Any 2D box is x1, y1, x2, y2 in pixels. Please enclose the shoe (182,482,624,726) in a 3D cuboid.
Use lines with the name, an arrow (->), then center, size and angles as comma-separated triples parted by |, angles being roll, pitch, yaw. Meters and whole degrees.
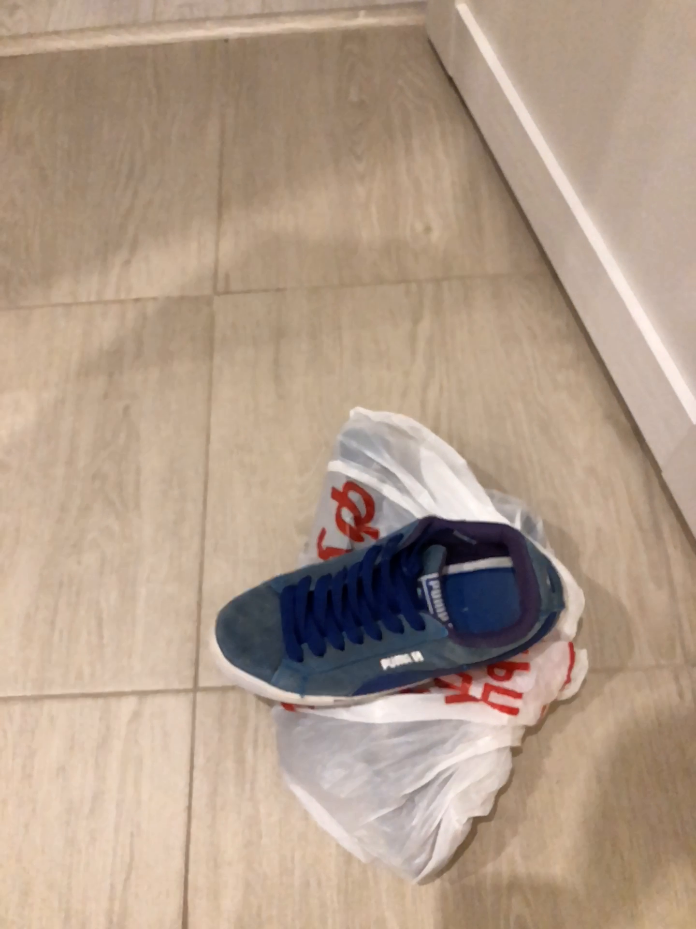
shoe -> 0.035, 0.108, 0.592 | 0.300, 0.100, 0.110 | -9, 57, -1
